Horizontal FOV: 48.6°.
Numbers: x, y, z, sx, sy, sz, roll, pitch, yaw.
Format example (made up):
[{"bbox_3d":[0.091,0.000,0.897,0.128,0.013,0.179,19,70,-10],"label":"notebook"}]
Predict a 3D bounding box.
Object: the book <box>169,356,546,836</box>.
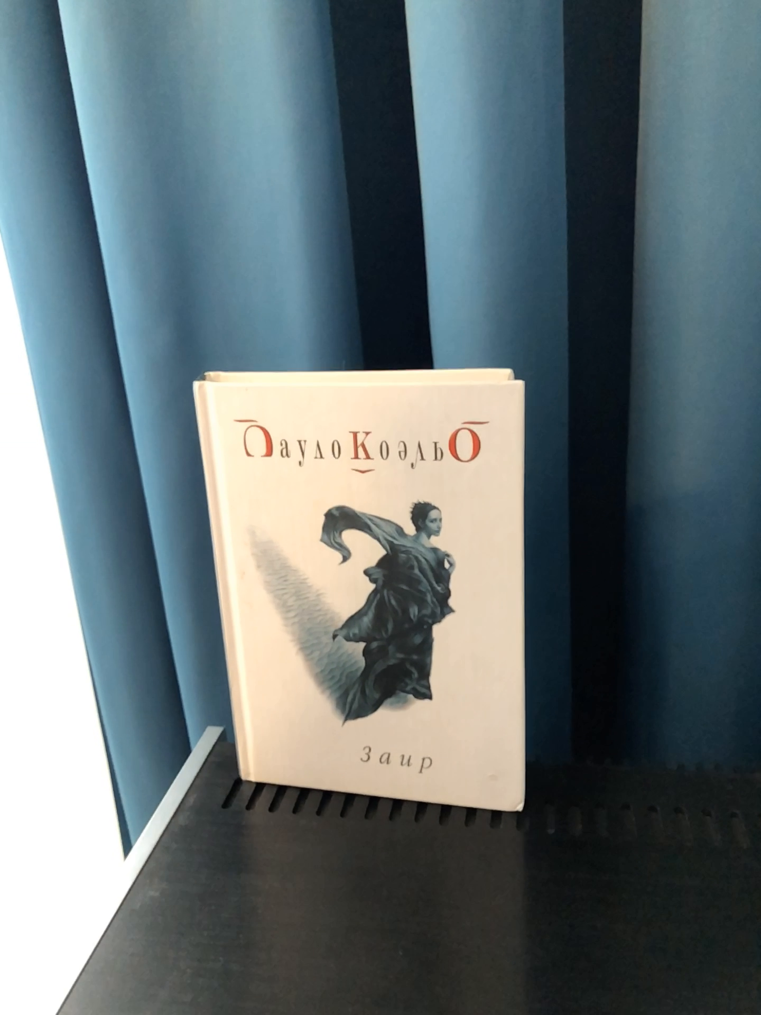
[{"bbox_3d":[-0.004,0.035,0.329,0.130,0.179,0.030,1,19,16],"label":"book"}]
